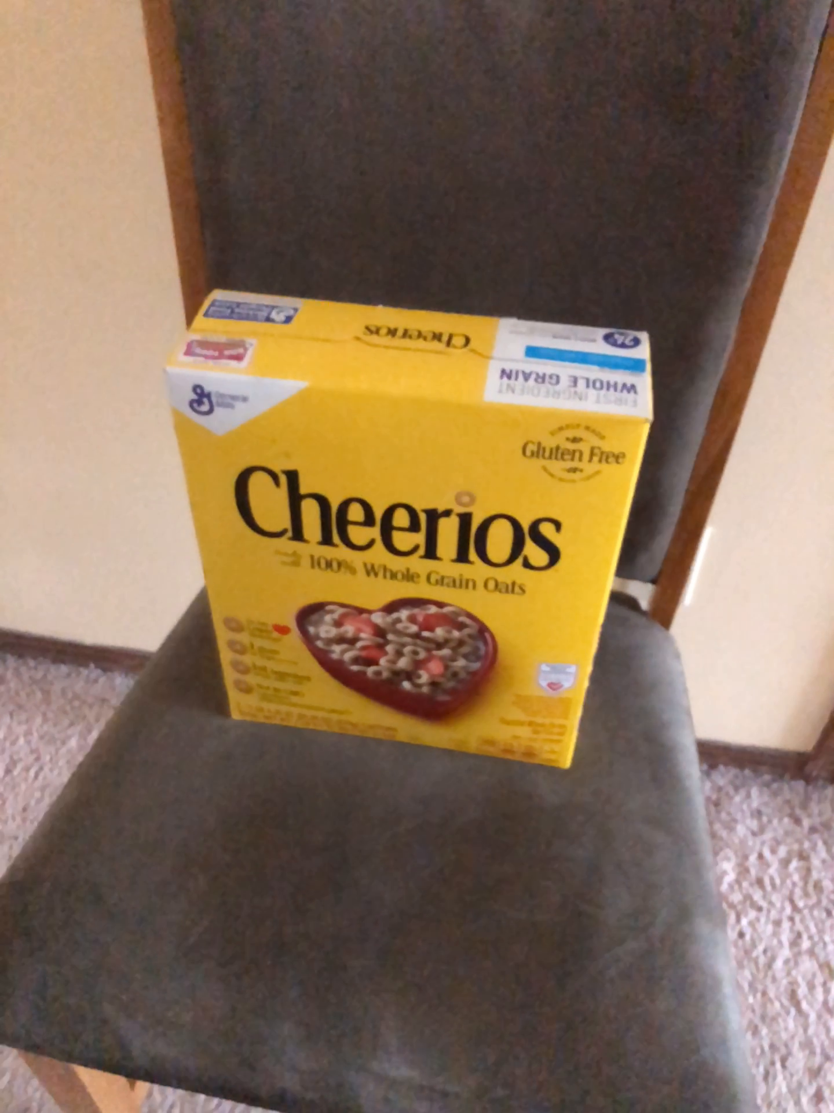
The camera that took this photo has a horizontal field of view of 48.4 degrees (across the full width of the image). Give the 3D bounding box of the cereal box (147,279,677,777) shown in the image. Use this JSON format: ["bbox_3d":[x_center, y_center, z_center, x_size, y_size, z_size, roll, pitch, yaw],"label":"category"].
[{"bbox_3d":[-0.001,-0.002,0.584,0.260,0.299,0.090,8,45,7],"label":"cereal box"}]
